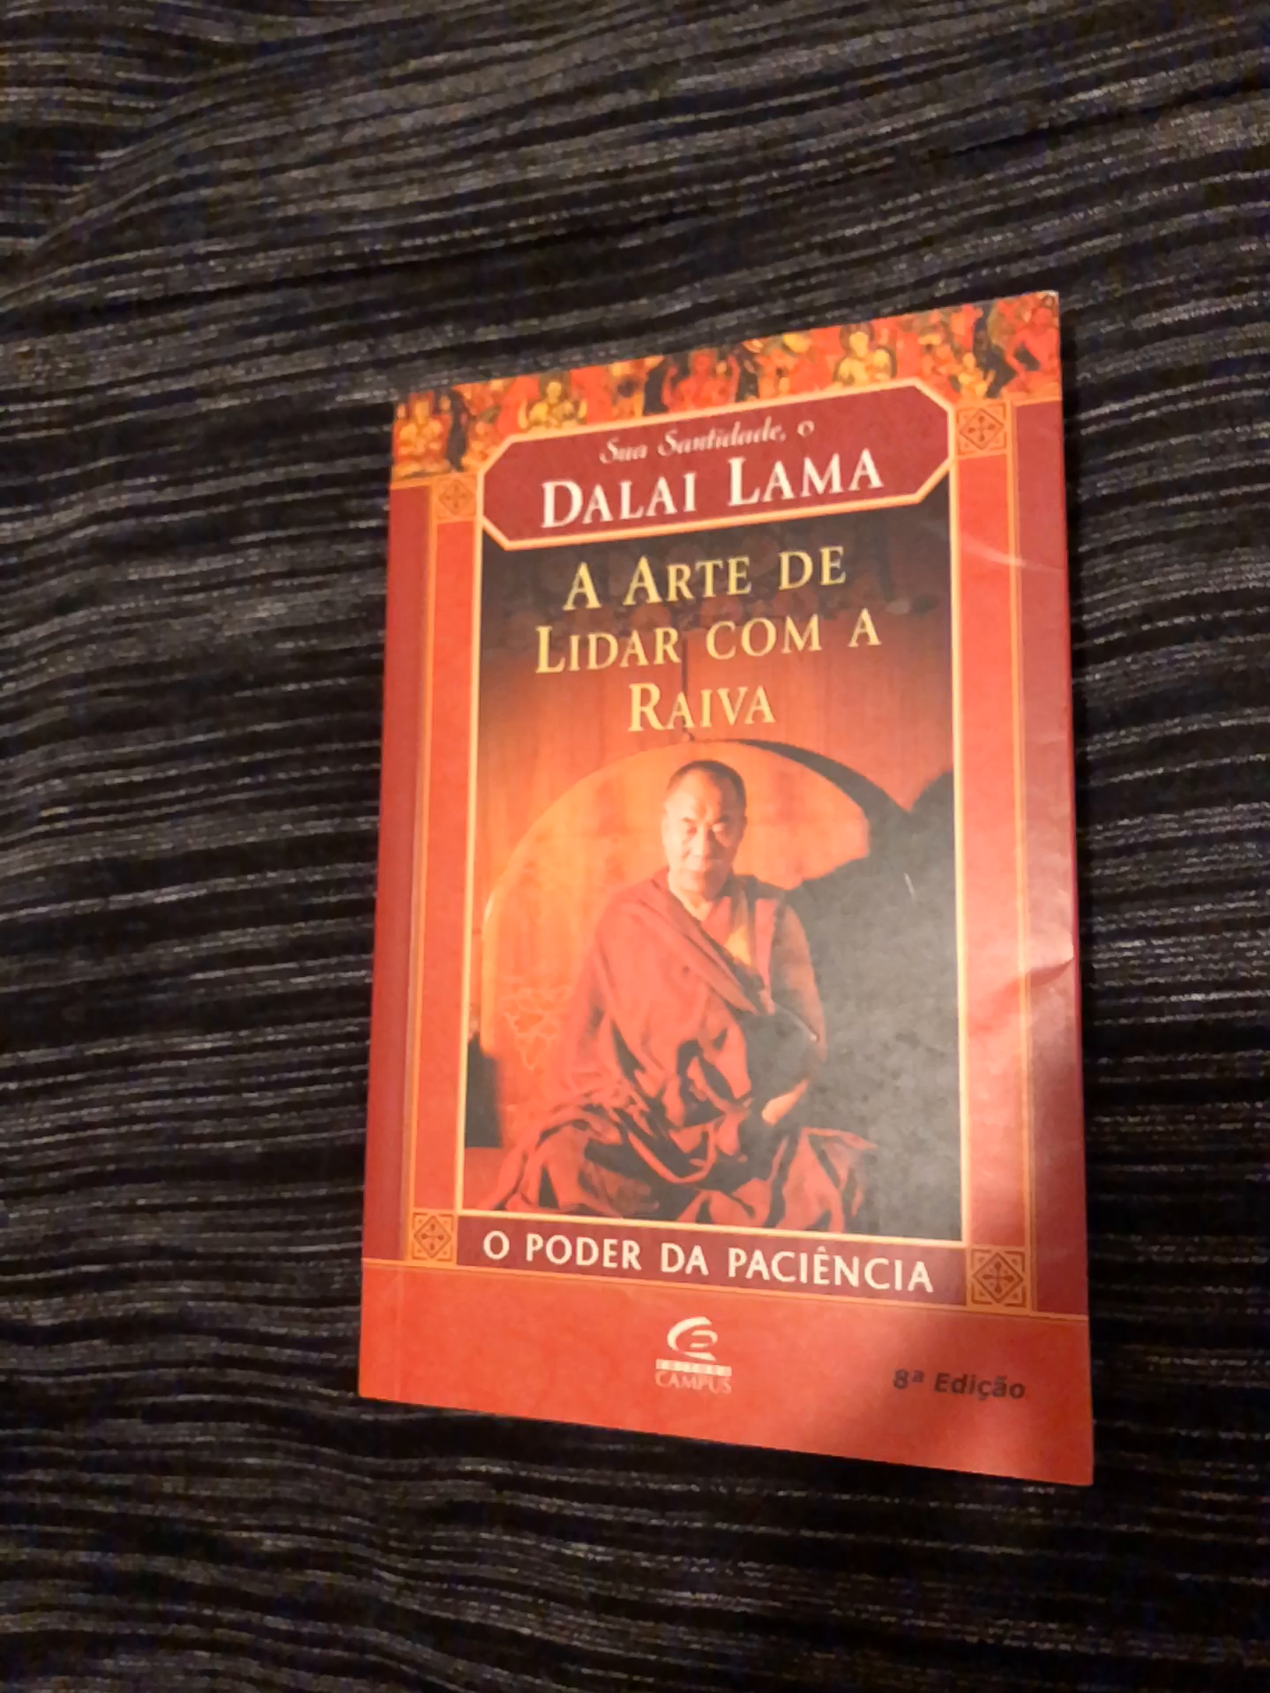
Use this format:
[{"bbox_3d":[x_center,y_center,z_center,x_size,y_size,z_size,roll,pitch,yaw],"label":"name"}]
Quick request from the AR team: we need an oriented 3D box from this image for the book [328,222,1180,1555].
[{"bbox_3d":[0.020,0.004,0.271,0.150,0.030,0.220,-2,81,20],"label":"book"}]

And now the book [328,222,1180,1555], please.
[{"bbox_3d":[0.020,0.004,0.271,0.150,0.030,0.220,-2,81,20],"label":"book"}]

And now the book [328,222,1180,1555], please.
[{"bbox_3d":[0.020,0.004,0.271,0.150,0.030,0.220,-2,81,20],"label":"book"}]
